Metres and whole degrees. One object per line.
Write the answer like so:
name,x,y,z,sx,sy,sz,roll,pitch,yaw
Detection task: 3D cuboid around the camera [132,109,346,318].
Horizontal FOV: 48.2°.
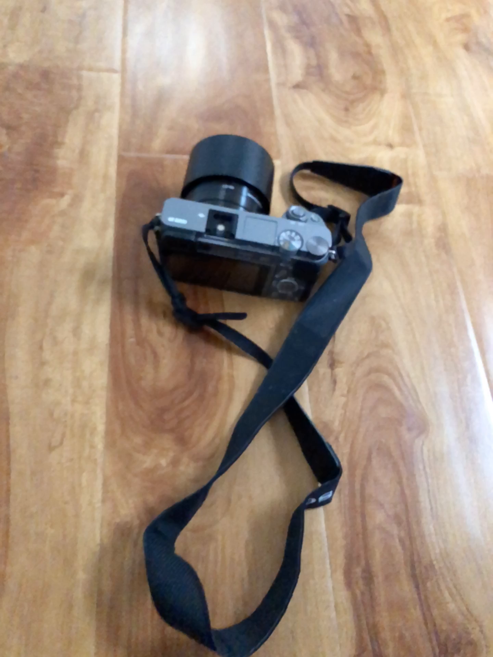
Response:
camera,-0.004,-0.086,0.424,0.140,0.080,0.110,9,61,-4
